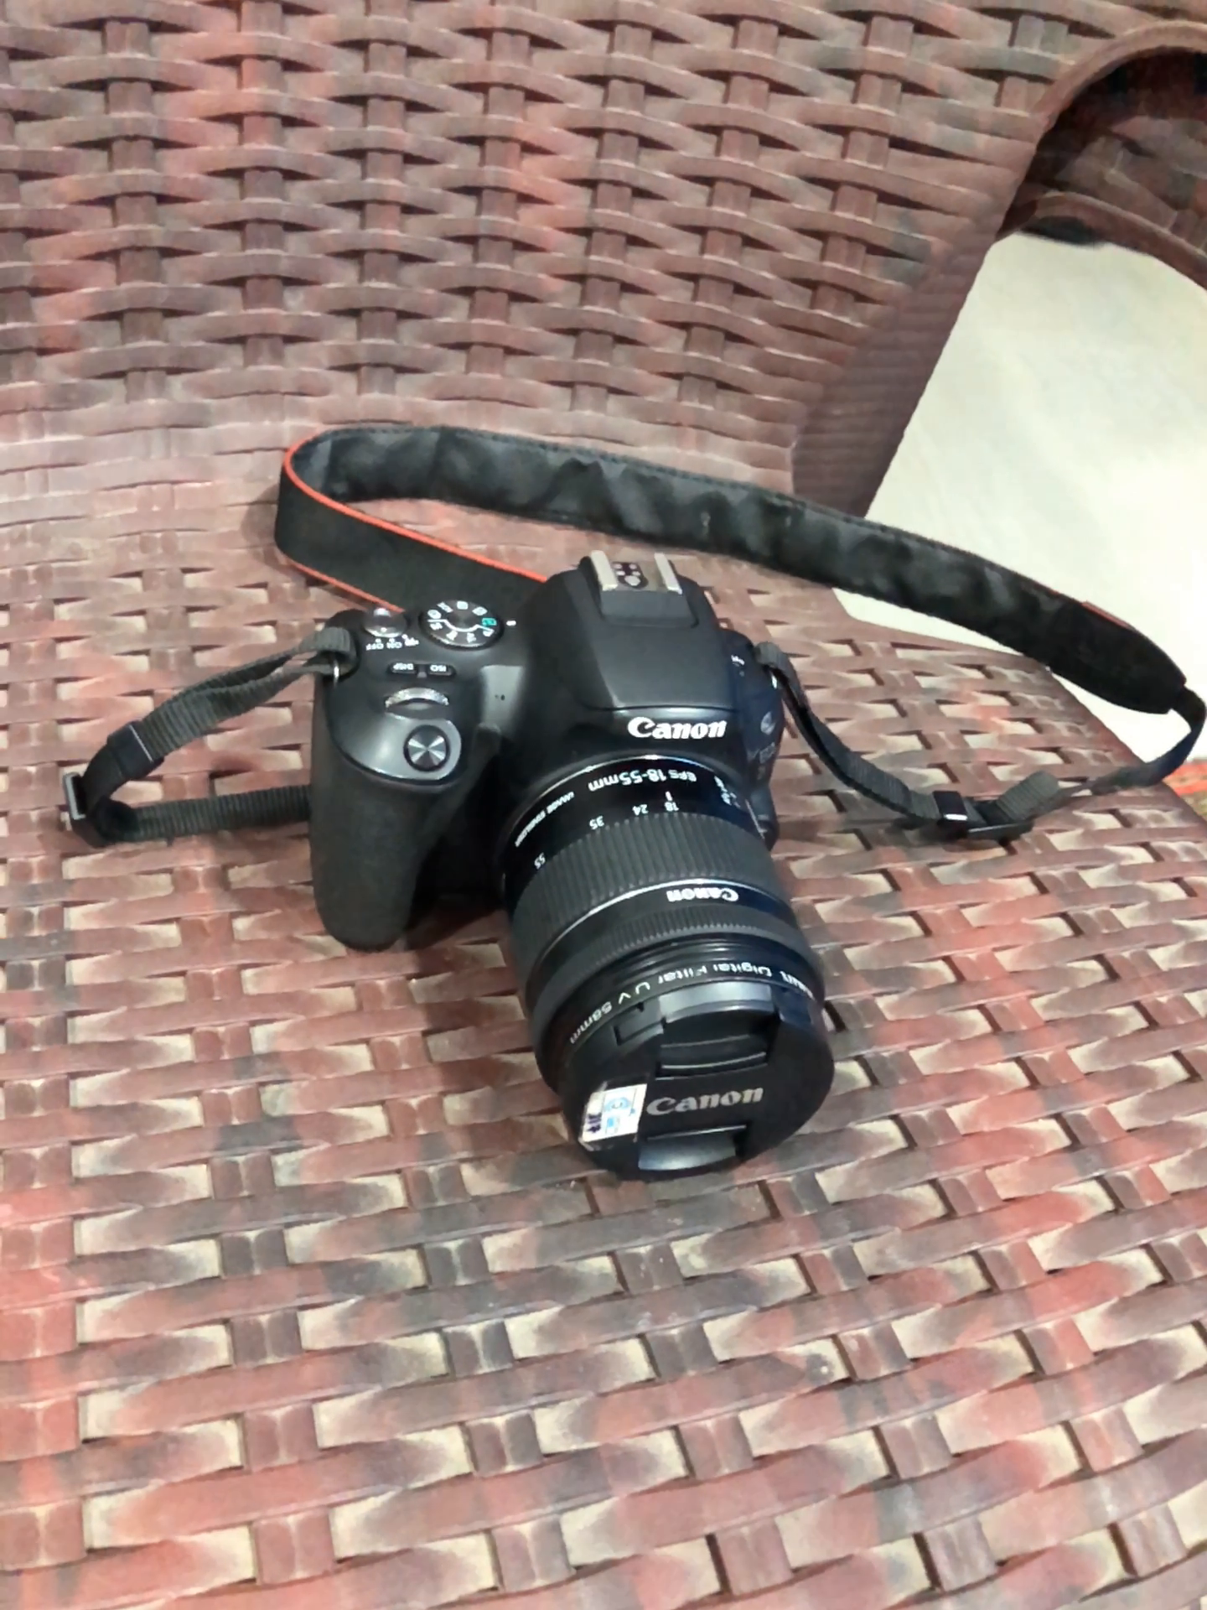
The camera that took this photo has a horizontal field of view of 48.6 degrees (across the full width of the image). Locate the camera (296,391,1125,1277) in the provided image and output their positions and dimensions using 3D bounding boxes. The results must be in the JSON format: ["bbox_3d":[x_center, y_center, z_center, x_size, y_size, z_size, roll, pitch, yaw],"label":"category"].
[{"bbox_3d":[0.004,0.003,0.326,0.140,0.109,0.171,-1,52,-17],"label":"camera"}]
